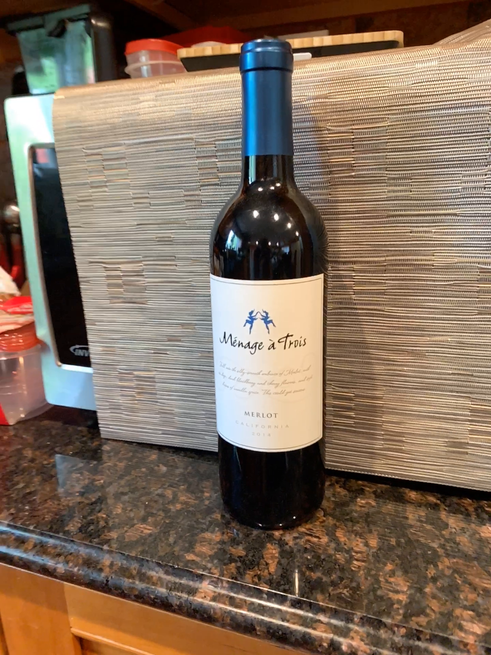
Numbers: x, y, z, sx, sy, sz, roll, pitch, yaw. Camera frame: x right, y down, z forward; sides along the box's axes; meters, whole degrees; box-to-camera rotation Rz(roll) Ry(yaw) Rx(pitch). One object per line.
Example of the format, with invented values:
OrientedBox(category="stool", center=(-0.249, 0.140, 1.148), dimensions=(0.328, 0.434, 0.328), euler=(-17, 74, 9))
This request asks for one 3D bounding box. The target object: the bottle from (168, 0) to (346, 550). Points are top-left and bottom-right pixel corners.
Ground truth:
OrientedBox(category="bottle", center=(0.014, -0.022, 0.328), dimensions=(0.080, 0.309, 0.080), euler=(-1, 16, 0))
